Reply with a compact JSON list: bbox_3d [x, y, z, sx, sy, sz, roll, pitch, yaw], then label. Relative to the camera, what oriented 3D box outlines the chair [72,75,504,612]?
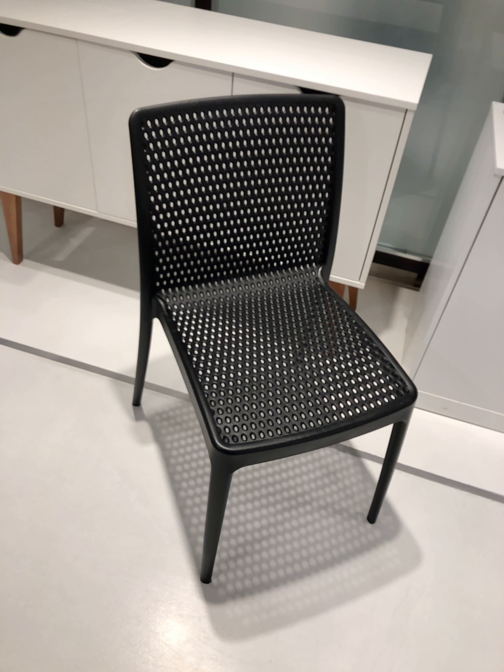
[{"bbox_3d":[0.003,0.023,1.175,0.531,0.864,0.603,-13,47,-20],"label":"chair"}]
